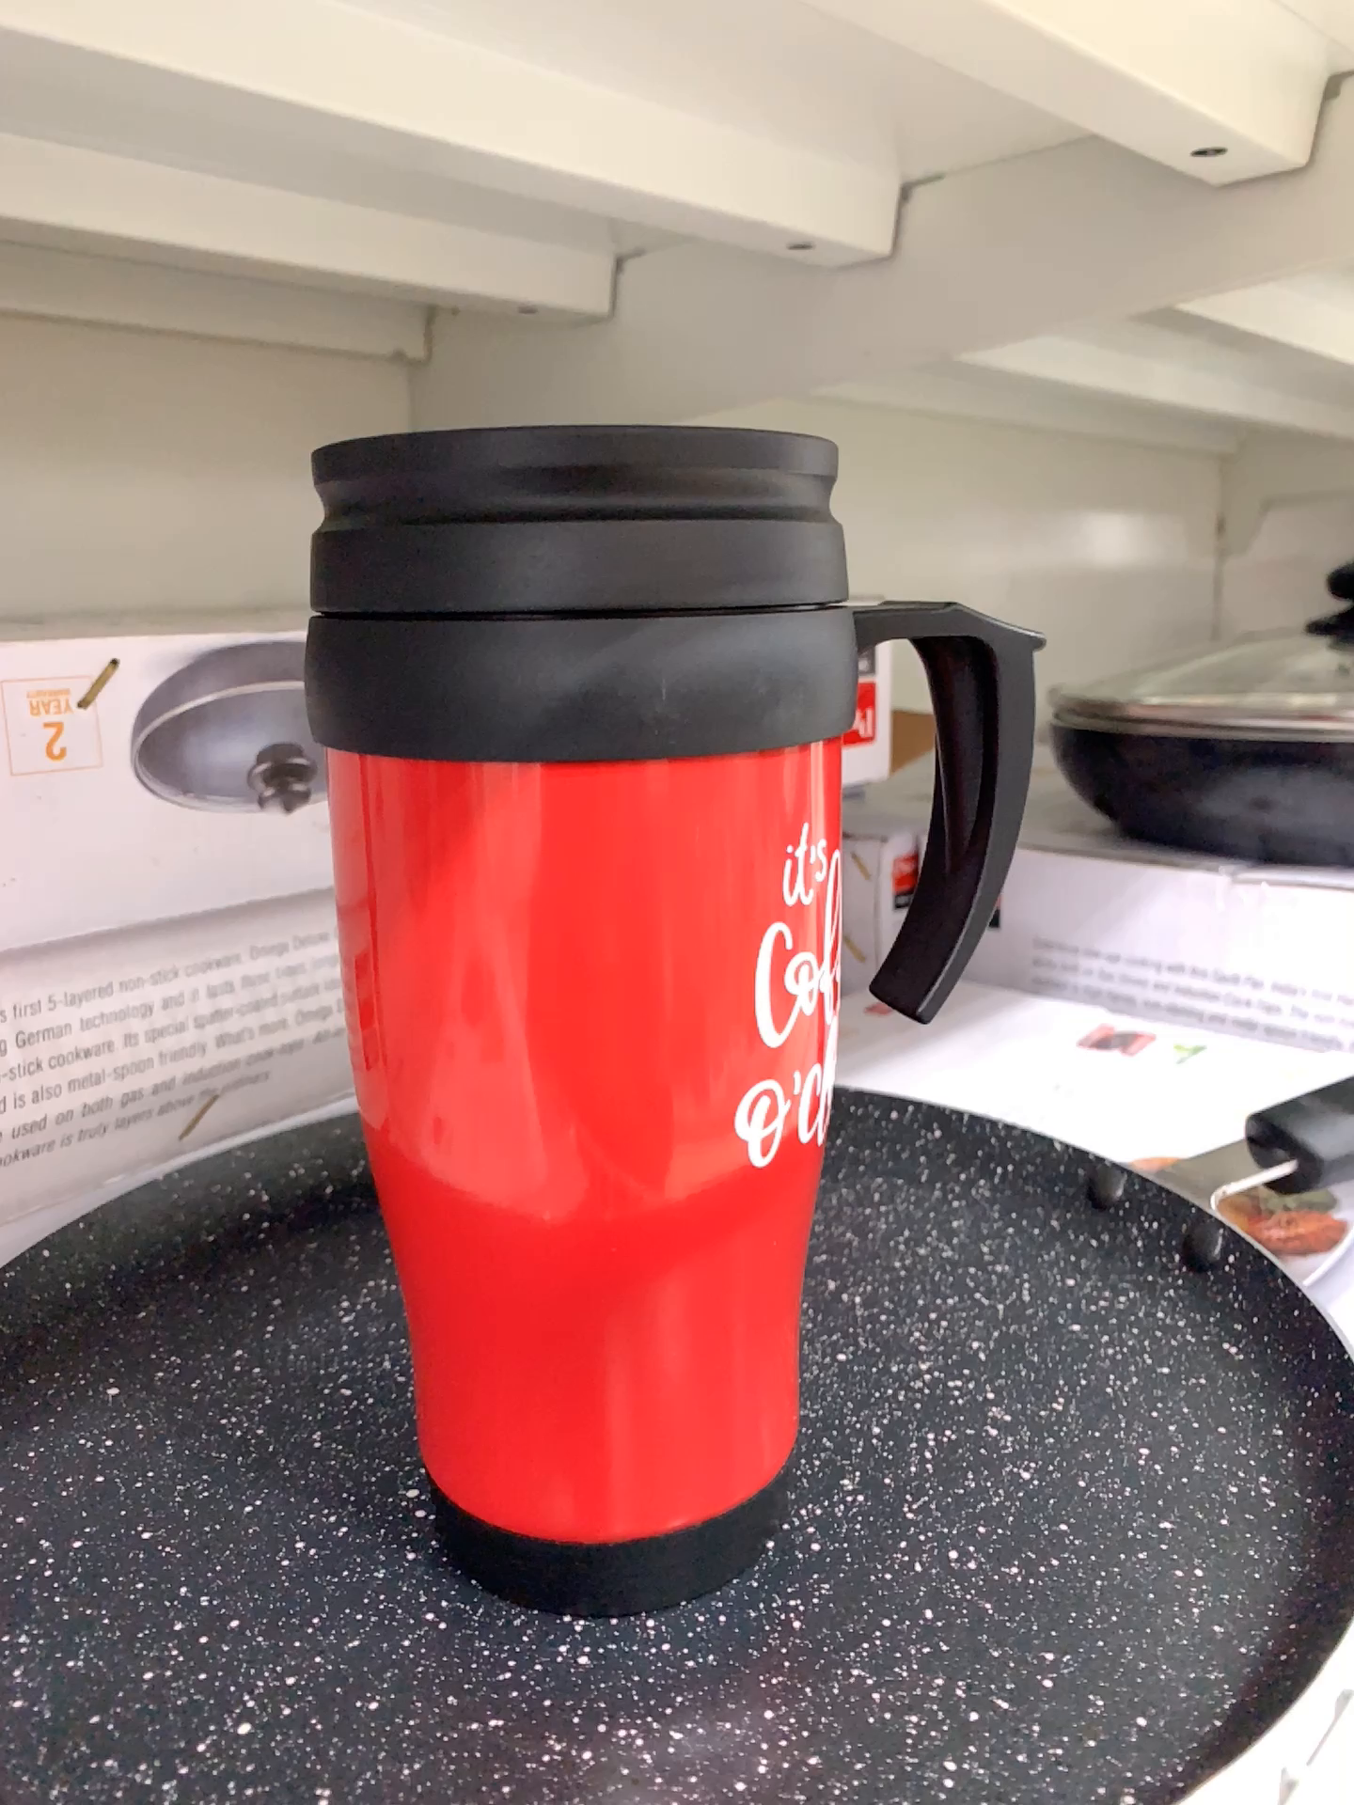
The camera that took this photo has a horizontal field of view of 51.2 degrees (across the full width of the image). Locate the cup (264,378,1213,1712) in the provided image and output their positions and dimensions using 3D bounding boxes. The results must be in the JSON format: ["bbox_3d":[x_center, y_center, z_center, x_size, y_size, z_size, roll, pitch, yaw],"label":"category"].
[{"bbox_3d":[0.007,0.010,0.238,0.120,0.169,0.090,-7,13,-26],"label":"cup"}]
